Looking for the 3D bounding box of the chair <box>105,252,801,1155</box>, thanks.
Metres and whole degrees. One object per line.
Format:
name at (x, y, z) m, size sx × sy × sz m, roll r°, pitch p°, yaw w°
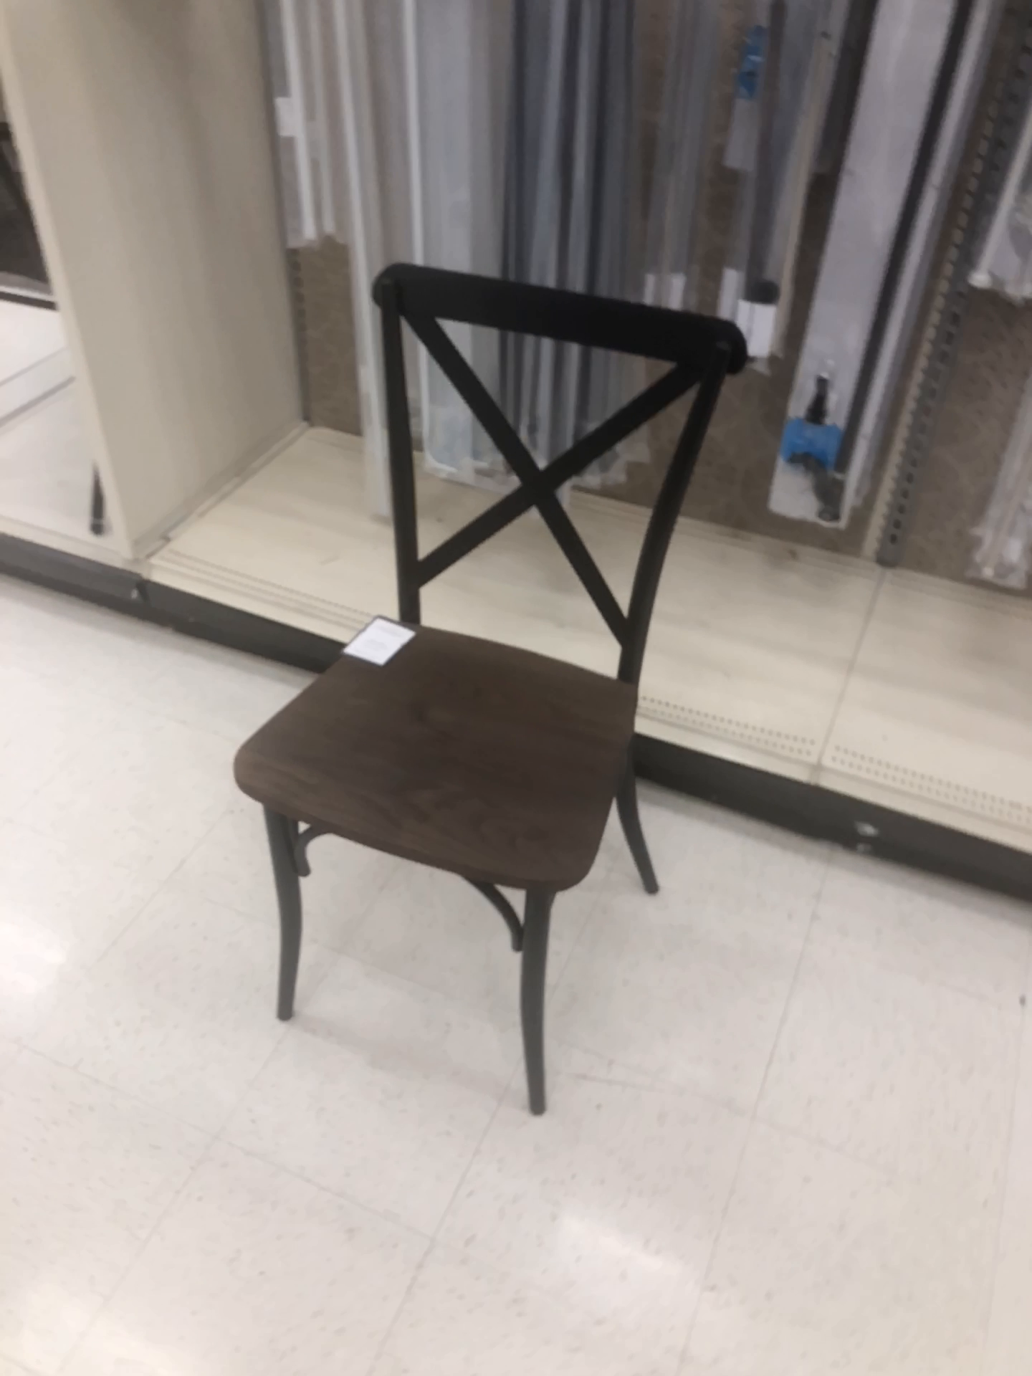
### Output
chair at (-0.029, 0.022, 1.333) m, size 0.476 × 0.811 × 0.528 m, roll 16°, pitch 43°, yaw 16°
